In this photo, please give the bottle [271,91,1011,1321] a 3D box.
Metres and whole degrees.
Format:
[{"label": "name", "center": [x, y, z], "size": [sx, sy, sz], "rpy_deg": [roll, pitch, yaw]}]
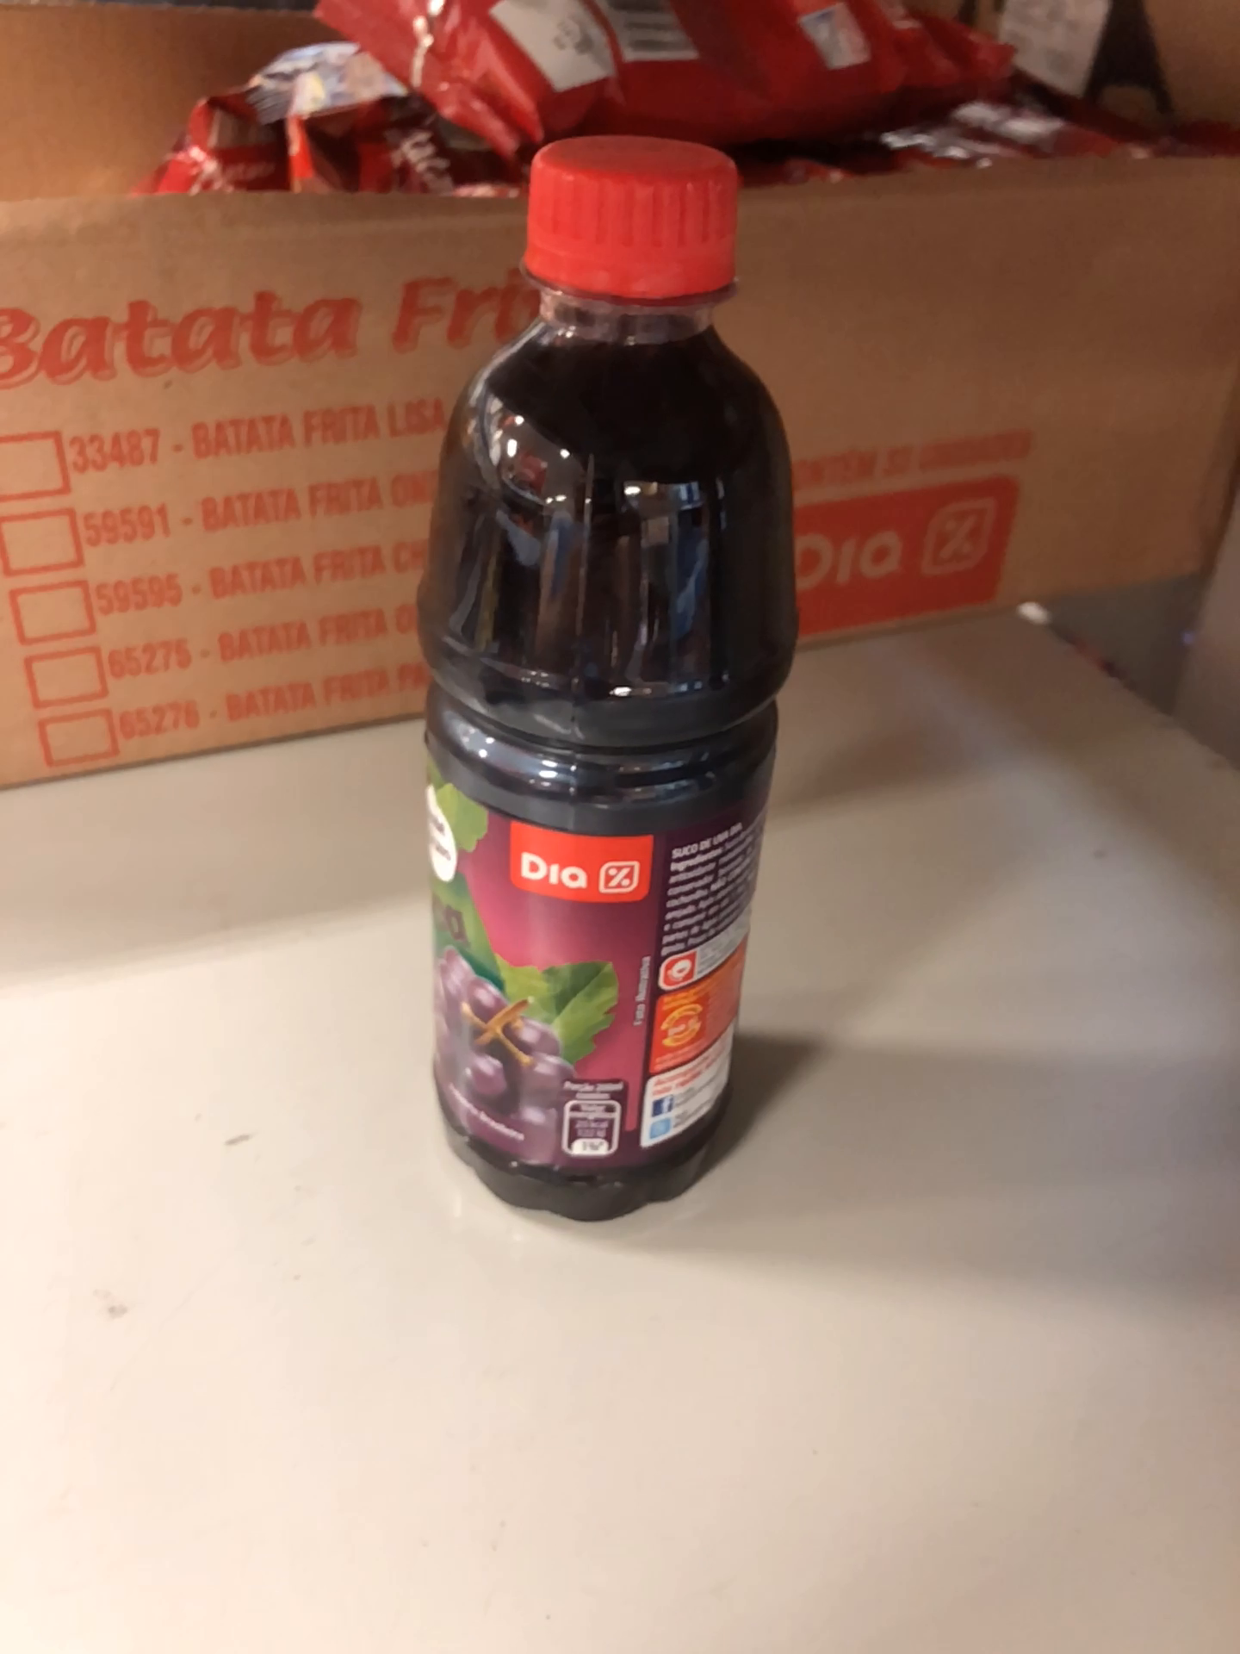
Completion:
[{"label": "bottle", "center": [-0.001, -0.015, 0.256], "size": [0.070, 0.198, 0.080], "rpy_deg": [-24, 44, -29]}]
